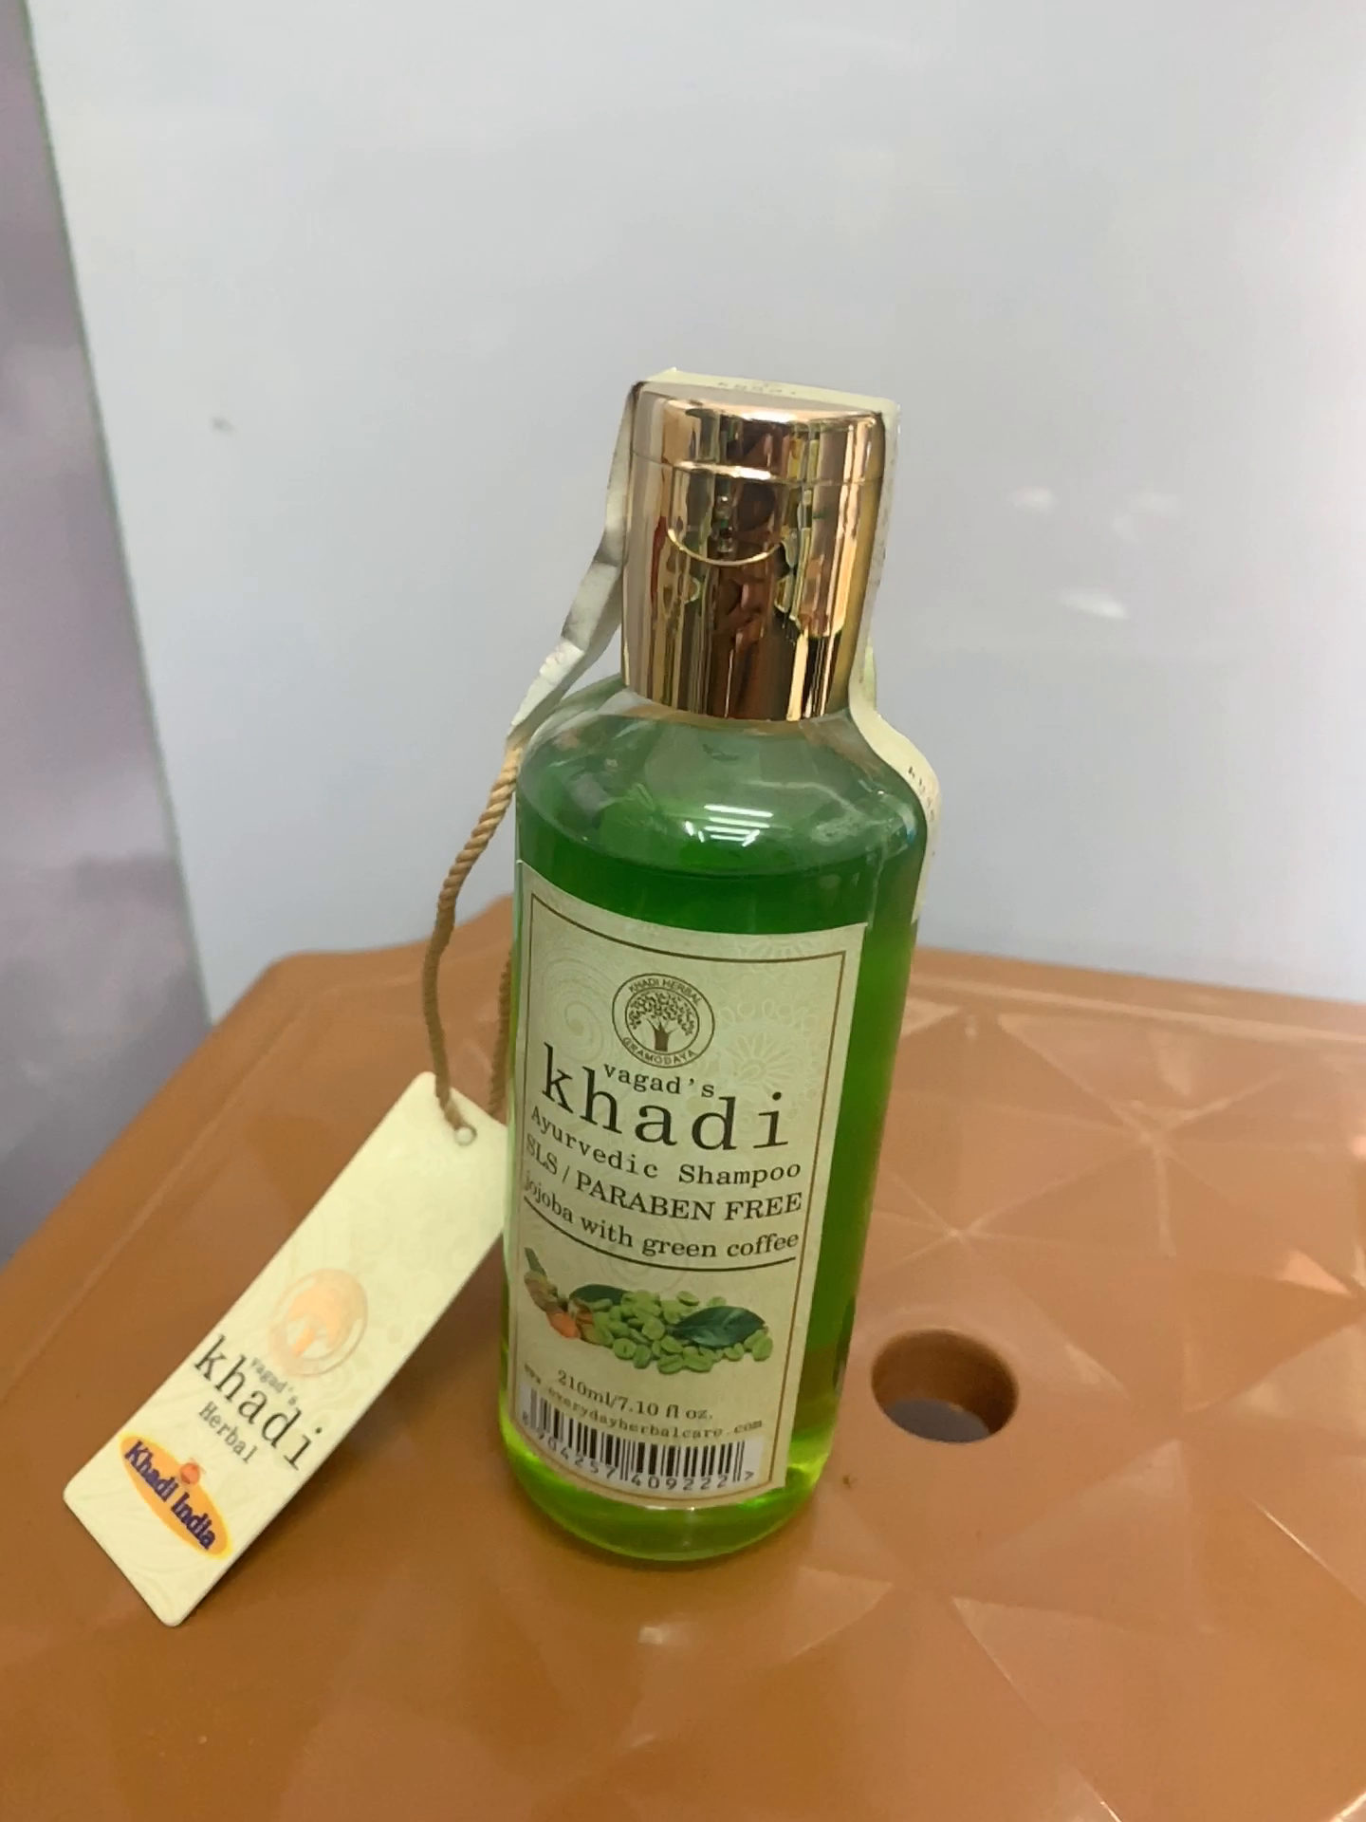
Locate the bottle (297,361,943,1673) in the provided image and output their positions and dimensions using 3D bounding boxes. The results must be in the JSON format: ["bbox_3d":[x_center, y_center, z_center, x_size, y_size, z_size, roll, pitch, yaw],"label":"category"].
[{"bbox_3d":[-0.006,0.015,0.178,0.050,0.149,0.050,2,27,-1],"label":"bottle"}]
